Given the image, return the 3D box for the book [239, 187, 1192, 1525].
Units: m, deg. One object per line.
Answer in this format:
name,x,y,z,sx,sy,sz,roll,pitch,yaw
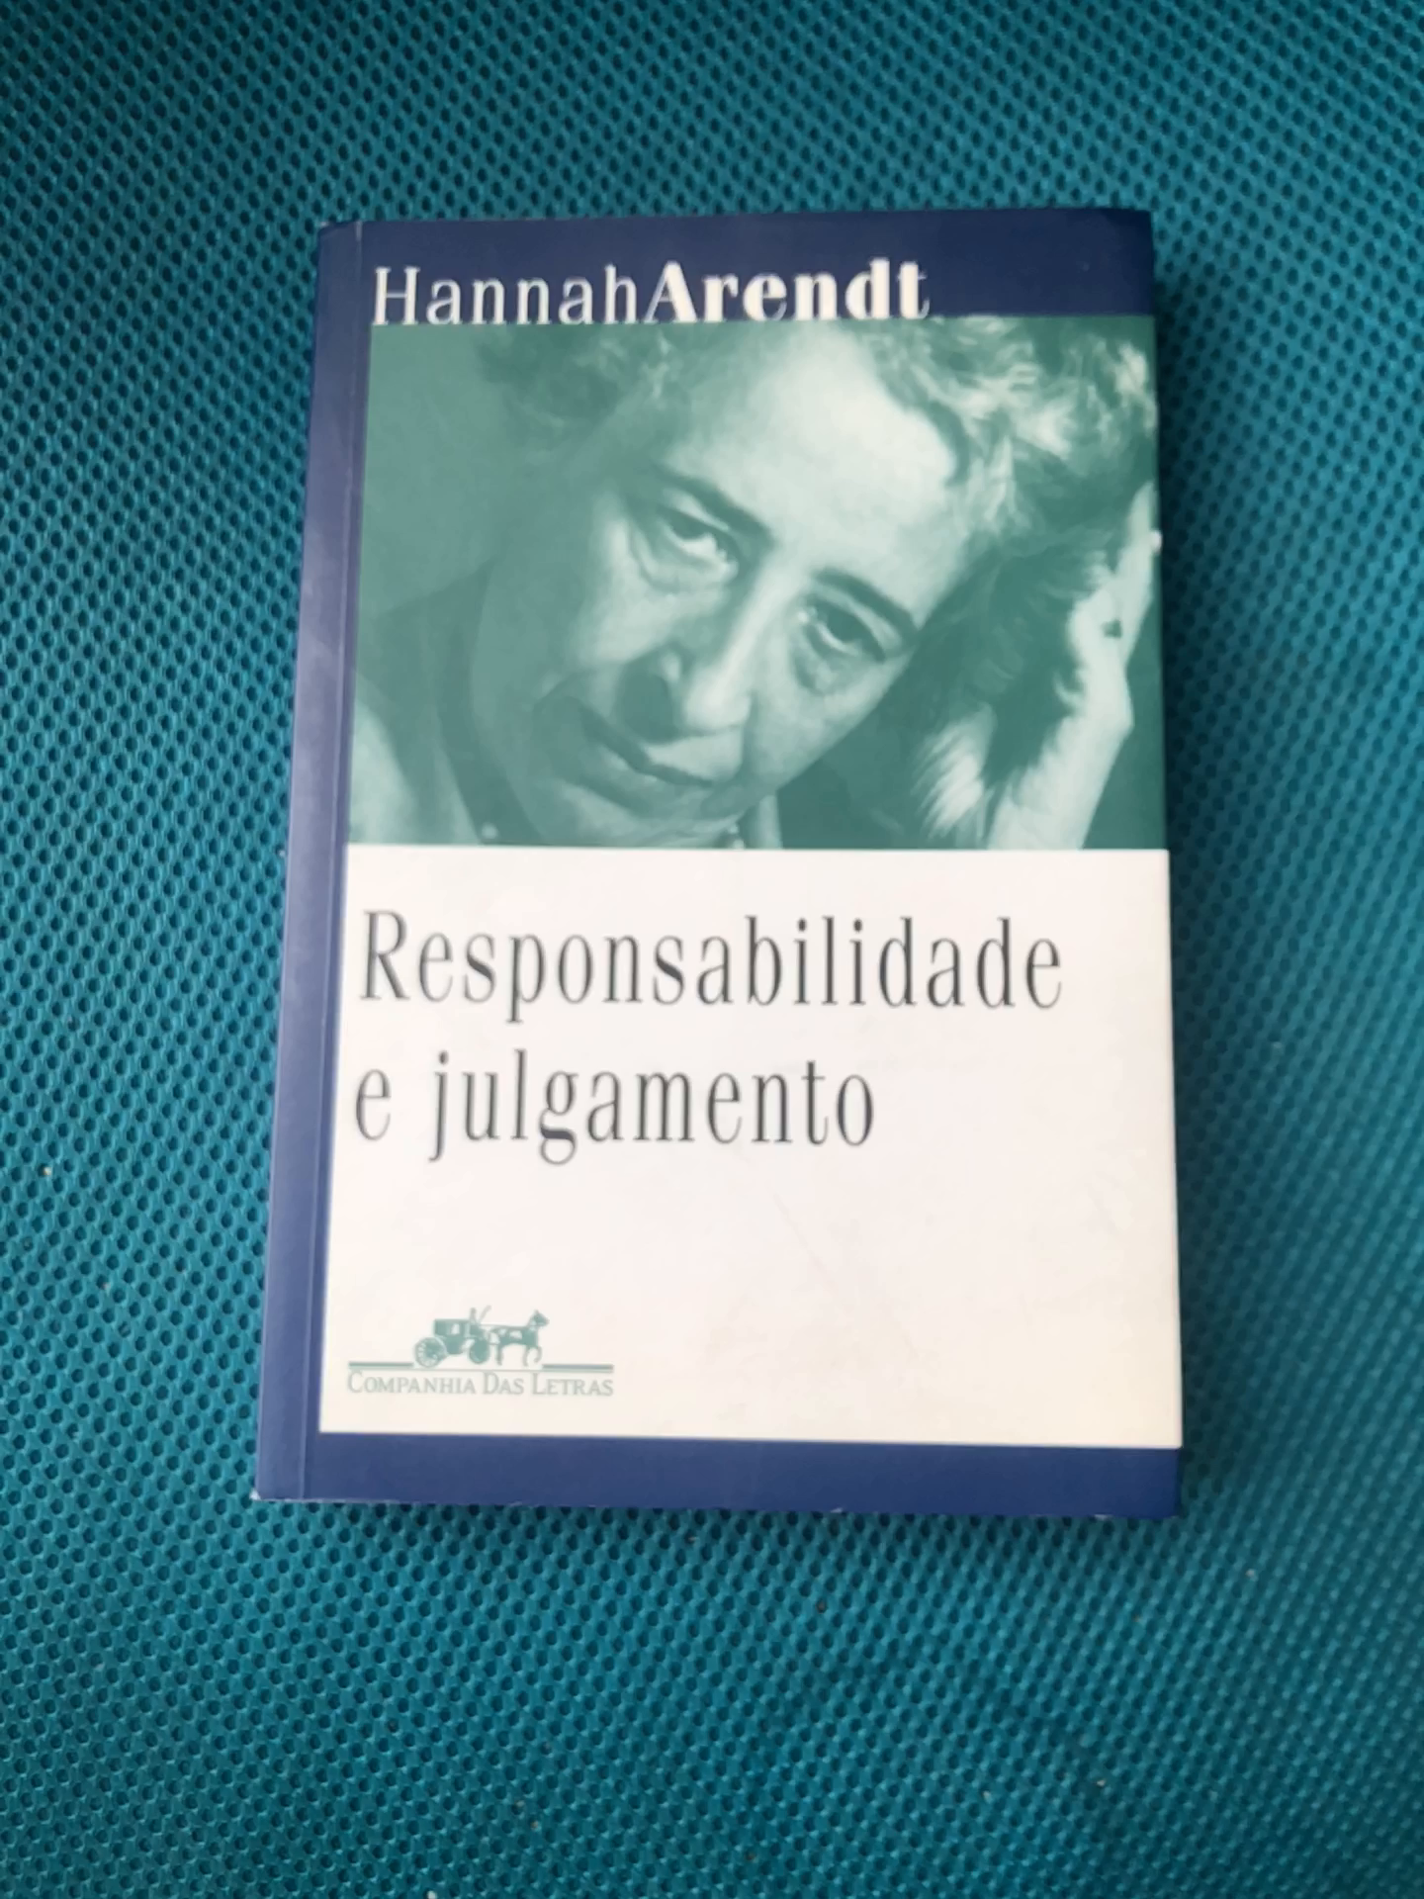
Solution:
book,0.002,-0.018,0.267,0.141,0.035,0.209,0,83,3
